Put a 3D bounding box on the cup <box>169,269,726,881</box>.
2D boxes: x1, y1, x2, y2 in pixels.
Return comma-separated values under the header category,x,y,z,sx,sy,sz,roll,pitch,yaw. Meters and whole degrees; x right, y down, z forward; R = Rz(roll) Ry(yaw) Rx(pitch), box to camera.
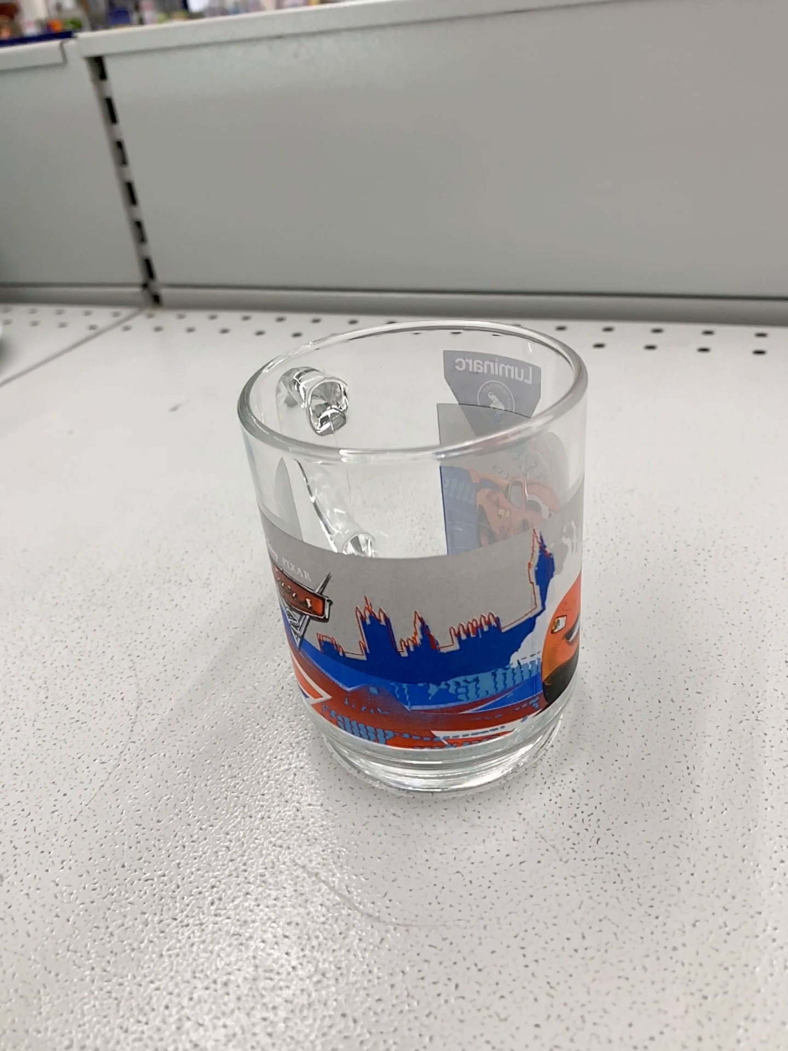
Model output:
category,x,y,z,sx,sy,sz,roll,pitch,yaw
cup,0.005,-0.001,0.186,0.072,0.081,0.102,-19,33,-19
